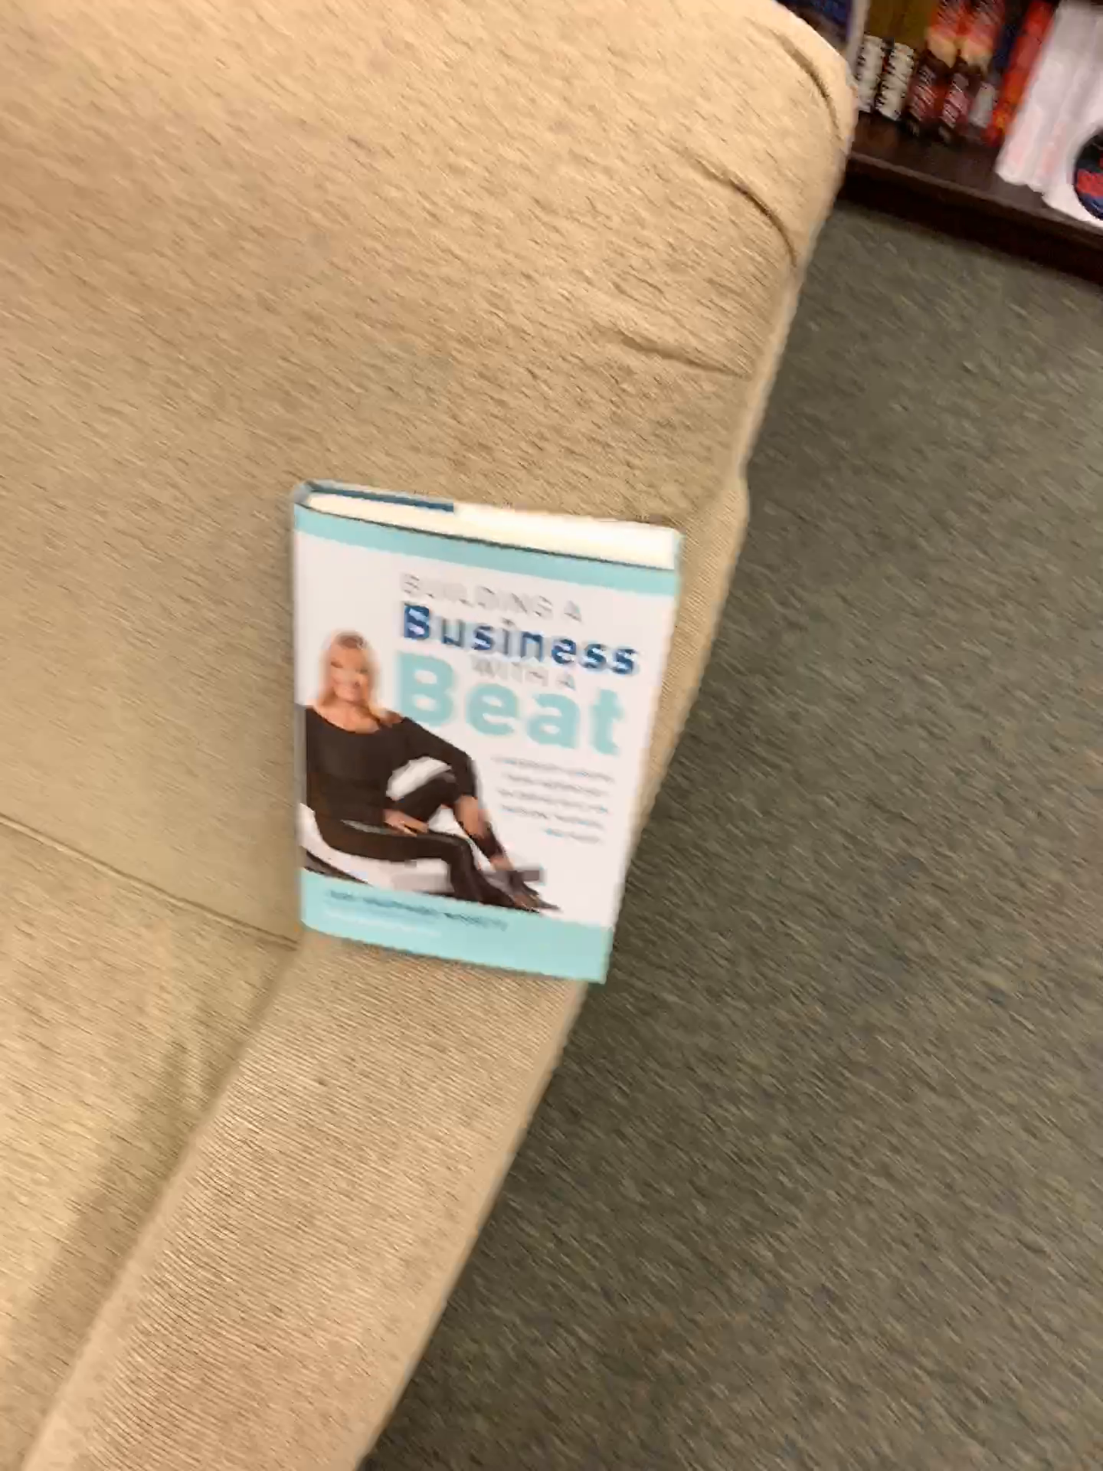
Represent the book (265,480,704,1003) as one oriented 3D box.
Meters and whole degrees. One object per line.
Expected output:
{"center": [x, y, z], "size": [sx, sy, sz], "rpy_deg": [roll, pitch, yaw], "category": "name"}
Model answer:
{"center": [-0.034, 0.012, 0.514], "size": [0.170, 0.229, 0.040], "rpy_deg": [10, 35, 6], "category": "book"}
